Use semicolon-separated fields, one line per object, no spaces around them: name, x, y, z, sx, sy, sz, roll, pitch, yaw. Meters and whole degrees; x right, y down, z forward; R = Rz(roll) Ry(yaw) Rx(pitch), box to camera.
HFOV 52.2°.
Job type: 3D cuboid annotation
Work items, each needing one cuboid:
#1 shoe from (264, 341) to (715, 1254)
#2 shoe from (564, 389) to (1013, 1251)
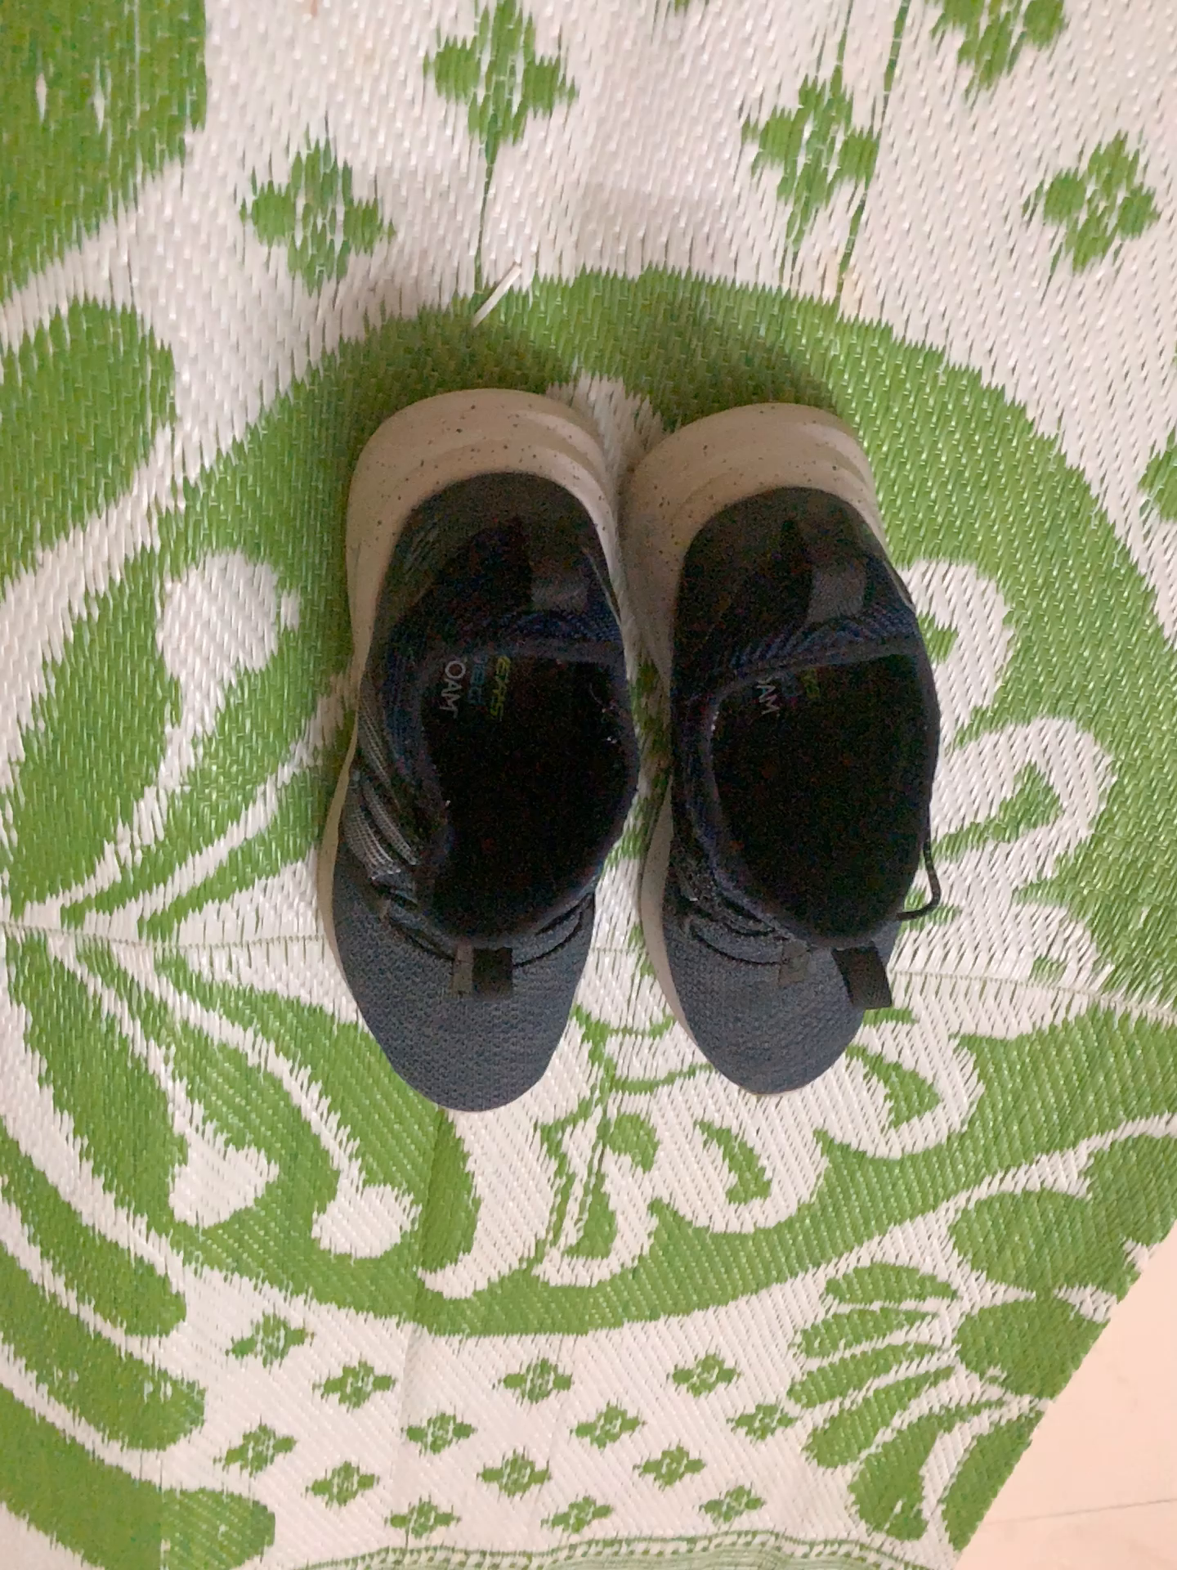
shoe;-0.038;0.017;0.413;0.110;0.100;0.301;-1;121;-8
shoe;0.071;0.025;0.436;0.110;0.100;0.291;-10;122;-2
